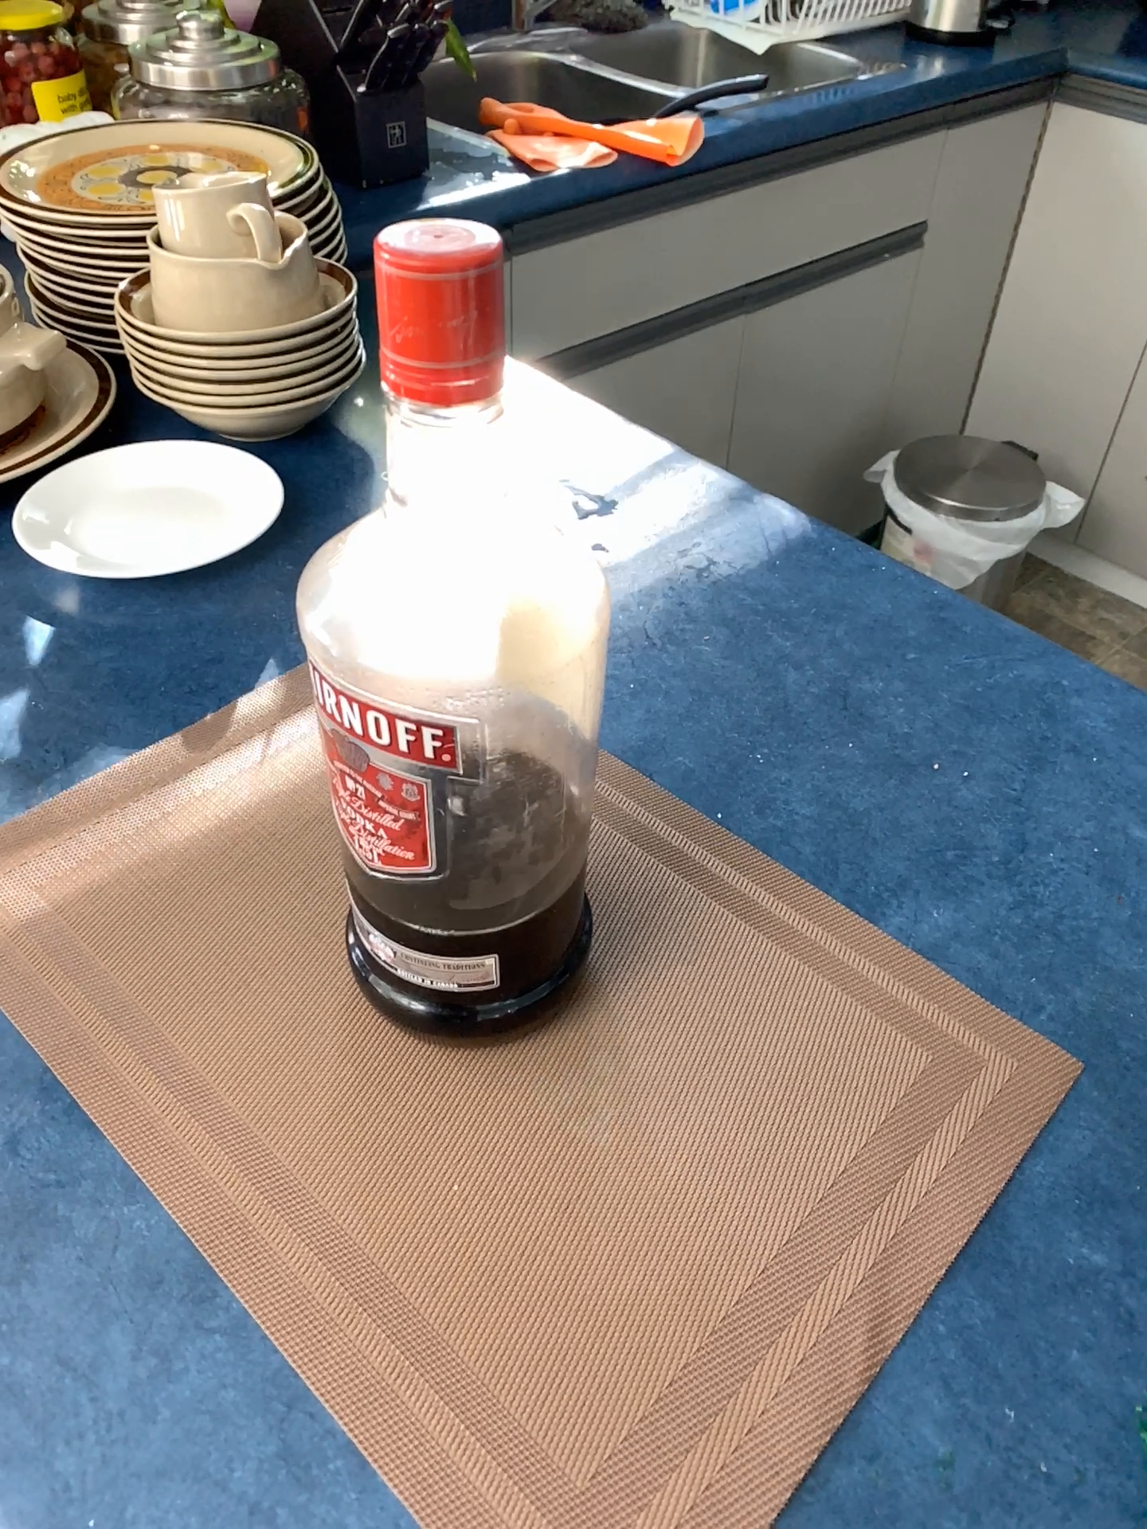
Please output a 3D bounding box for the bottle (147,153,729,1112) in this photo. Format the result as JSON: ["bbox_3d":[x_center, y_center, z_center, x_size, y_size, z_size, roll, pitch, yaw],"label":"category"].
[{"bbox_3d":[-0.042,-0.030,0.435,0.120,0.317,0.111,1,42,-1],"label":"bottle"}]
